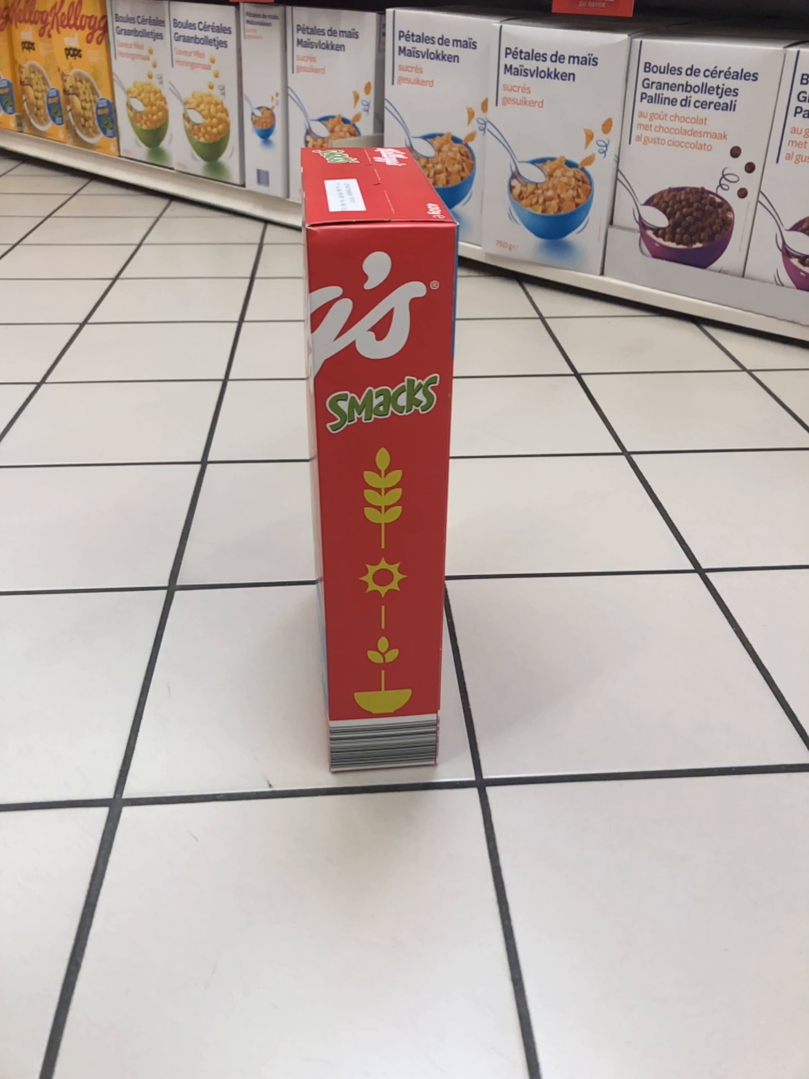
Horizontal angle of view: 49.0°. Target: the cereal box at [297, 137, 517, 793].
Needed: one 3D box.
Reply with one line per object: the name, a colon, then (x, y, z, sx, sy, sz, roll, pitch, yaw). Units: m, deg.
cereal box: (-0.008, -0.046, 0.492, 0.080, 0.298, 0.201, -4, 32, -5)
